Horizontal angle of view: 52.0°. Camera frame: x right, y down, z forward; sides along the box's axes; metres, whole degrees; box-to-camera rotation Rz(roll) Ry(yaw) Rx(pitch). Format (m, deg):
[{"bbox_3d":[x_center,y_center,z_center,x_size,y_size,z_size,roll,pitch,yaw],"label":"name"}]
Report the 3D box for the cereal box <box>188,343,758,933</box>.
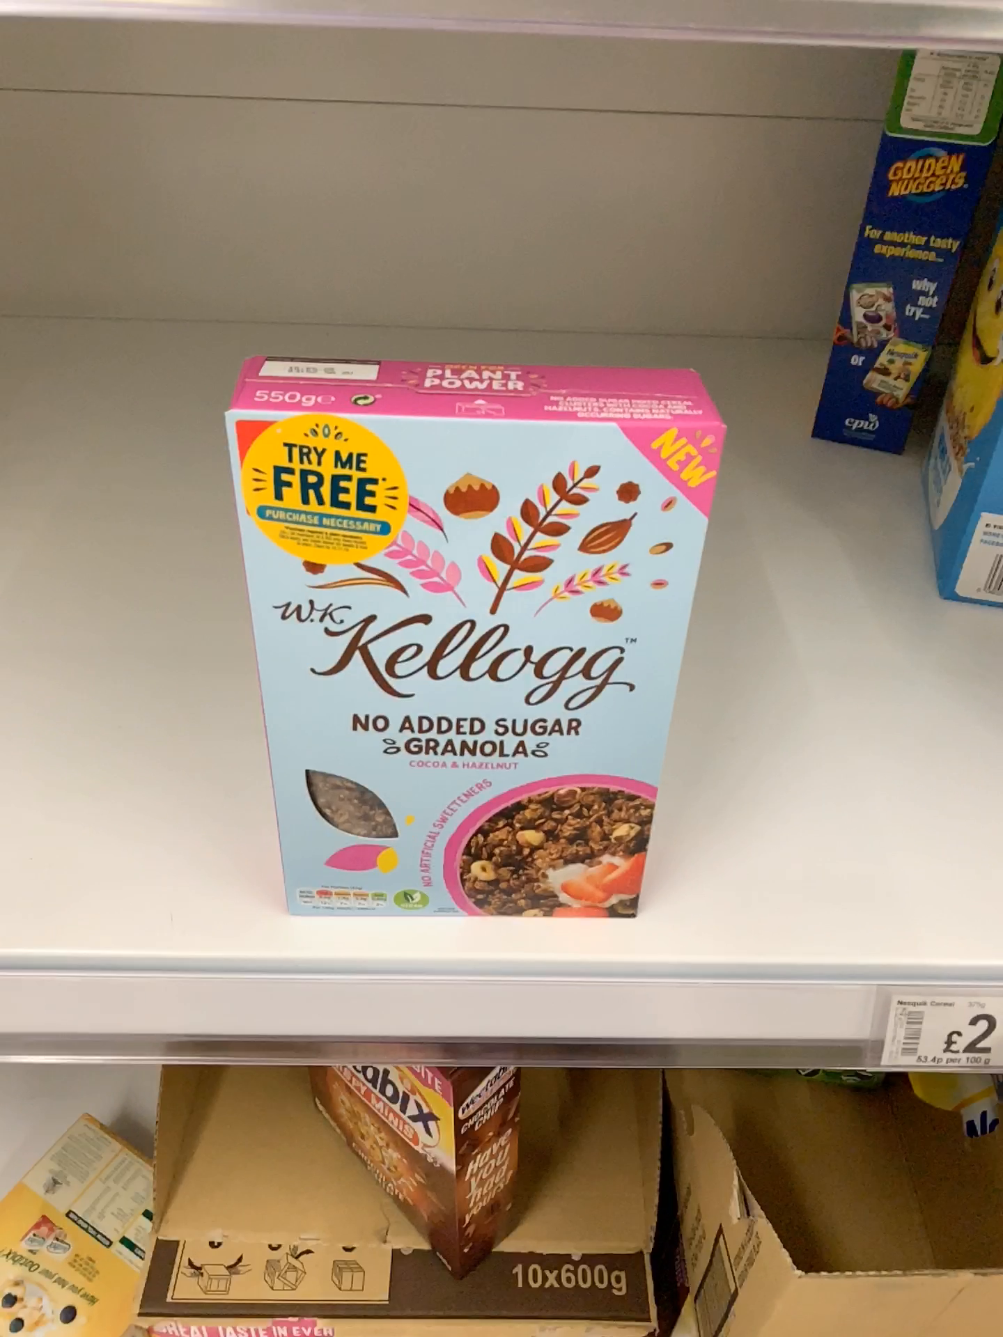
[{"bbox_3d":[-0.012,0.006,0.403,0.170,0.248,0.050,1,39,-2],"label":"cereal box"}]
